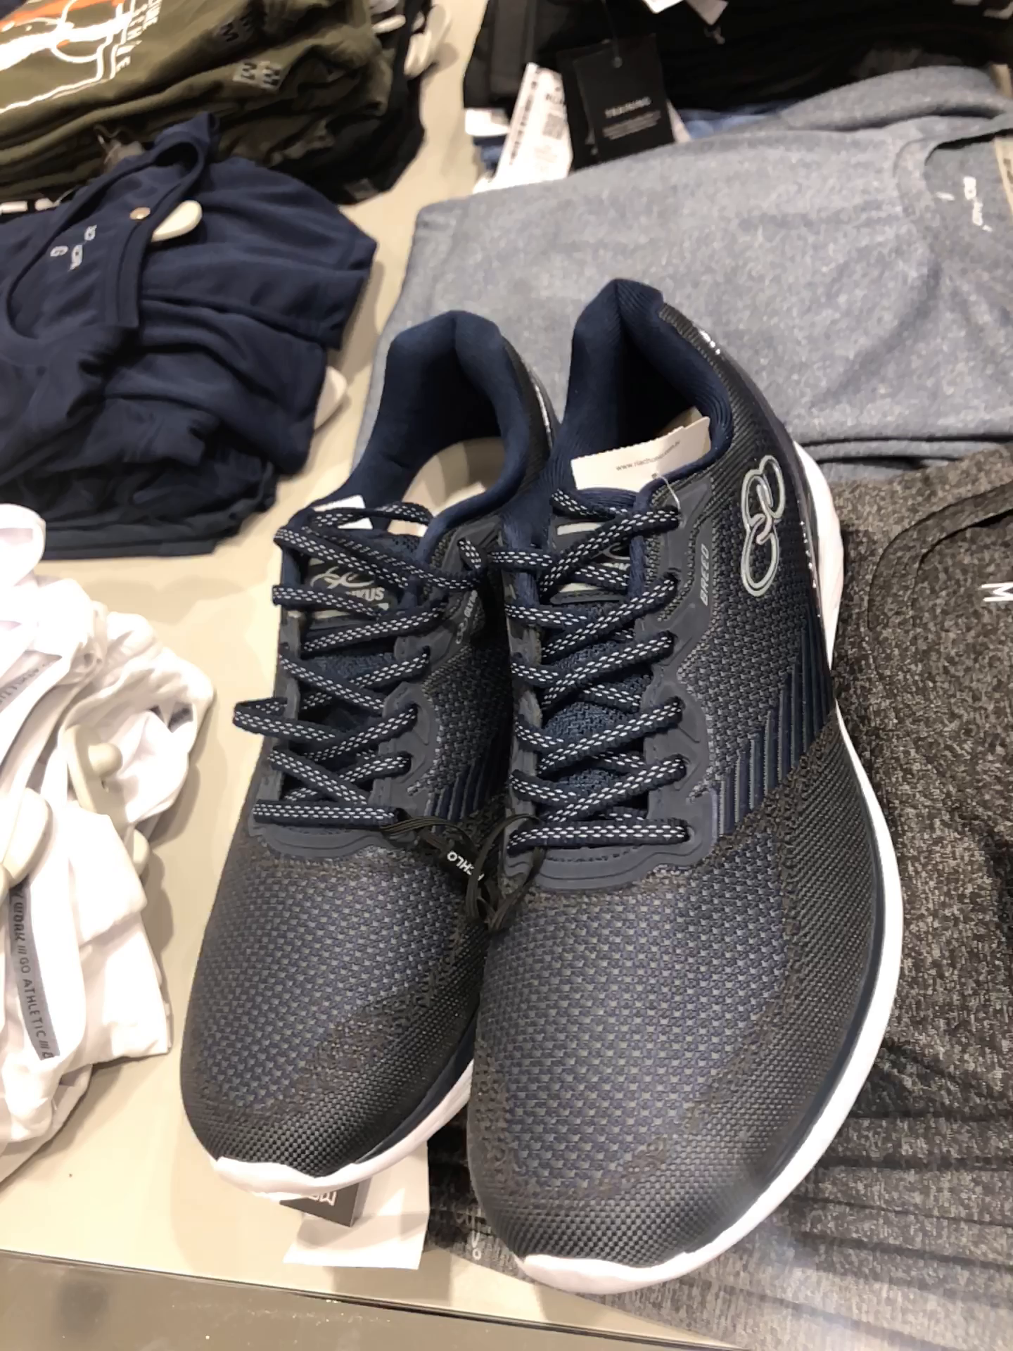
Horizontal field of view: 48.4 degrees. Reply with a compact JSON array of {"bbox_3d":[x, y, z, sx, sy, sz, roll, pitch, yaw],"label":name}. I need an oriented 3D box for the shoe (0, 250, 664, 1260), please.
[{"bbox_3d":[-0.036,0.016,0.376,0.120,0.129,0.291,1,59,20],"label":"shoe"}]

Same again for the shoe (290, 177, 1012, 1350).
[{"bbox_3d":[0.054,0.020,0.333,0.120,0.129,0.291,-13,54,30],"label":"shoe"}]
